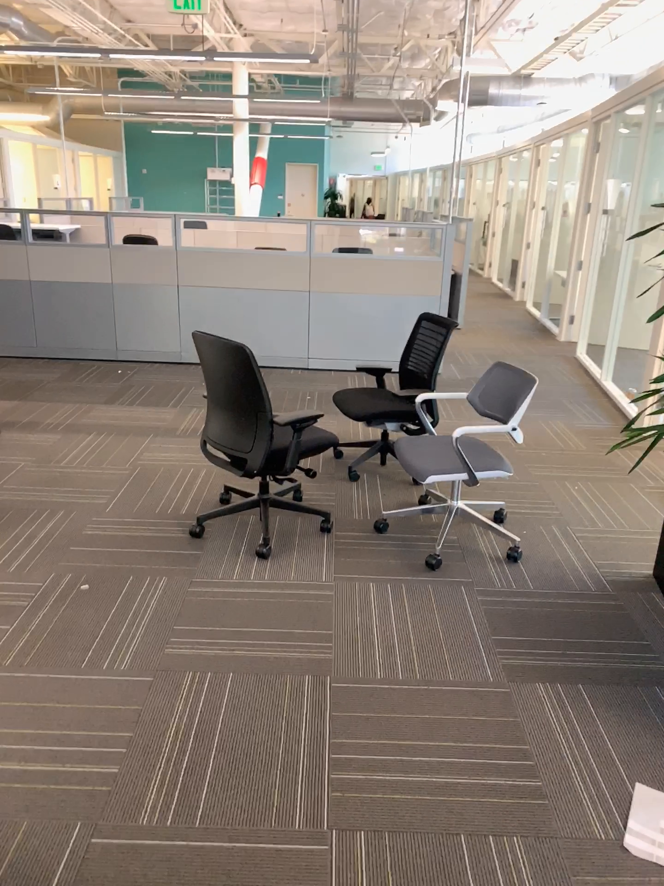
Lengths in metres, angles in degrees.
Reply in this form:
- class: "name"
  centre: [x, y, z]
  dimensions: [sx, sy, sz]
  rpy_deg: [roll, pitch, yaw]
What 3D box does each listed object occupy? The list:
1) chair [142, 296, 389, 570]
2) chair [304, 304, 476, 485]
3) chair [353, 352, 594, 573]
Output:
- class: "chair"
  centre: [-0.311, -0.117, 3.119]
  dimensions: [0.761, 0.955, 0.773]
  rpy_deg: [-16, 26, -41]
- class: "chair"
  centre: [0.325, -0.353, 4.284]
  dimensions: [0.760, 0.926, 0.774]
  rpy_deg: [-6, 20, -22]
- class: "chair"
  centre: [0.575, 0.036, 3.090]
  dimensions: [0.760, 0.736, 0.774]
  rpy_deg: [-2, 20, -13]
